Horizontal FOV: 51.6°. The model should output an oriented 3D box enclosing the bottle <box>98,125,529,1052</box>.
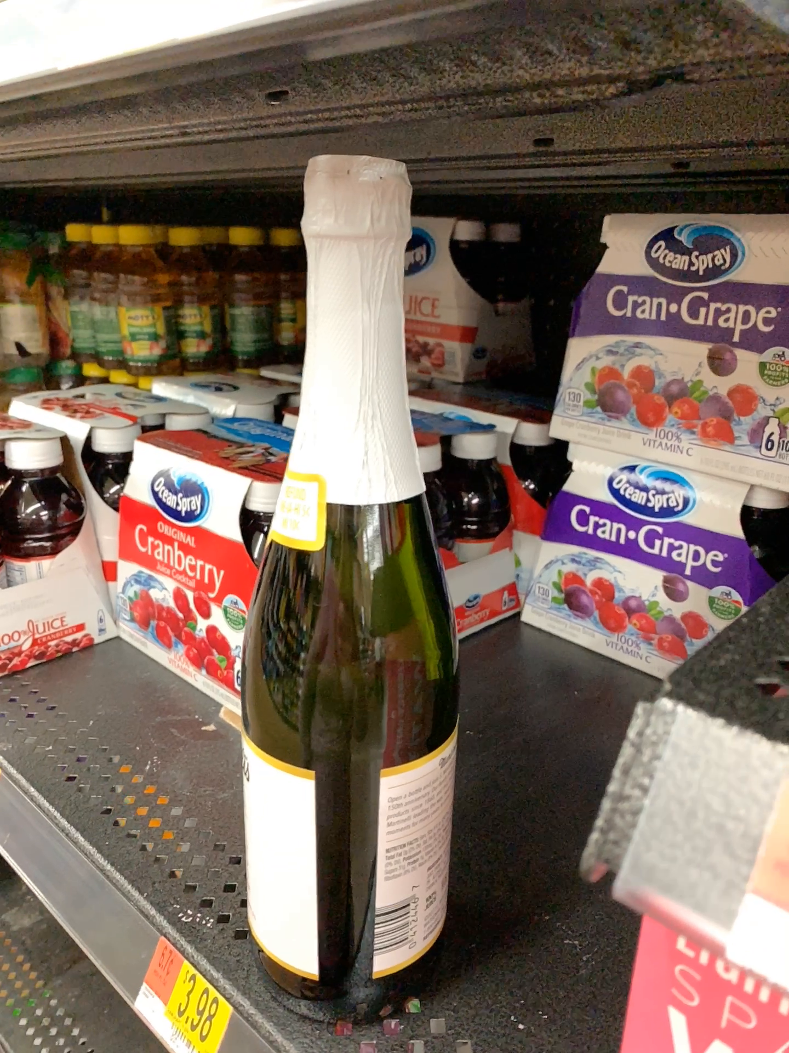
[{"bbox_3d":[-0.018,0.034,0.280,0.090,0.299,0.090,1,20,0],"label":"bottle"}]
